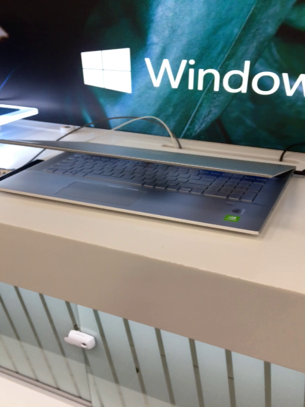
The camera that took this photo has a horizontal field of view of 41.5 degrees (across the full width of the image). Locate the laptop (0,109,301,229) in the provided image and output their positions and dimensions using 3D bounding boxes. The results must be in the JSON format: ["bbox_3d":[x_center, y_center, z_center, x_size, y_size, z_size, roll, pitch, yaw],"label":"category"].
[{"bbox_3d":[0.002,-0.079,0.694,0.429,0.069,0.222,11,32,21],"label":"laptop"}]
